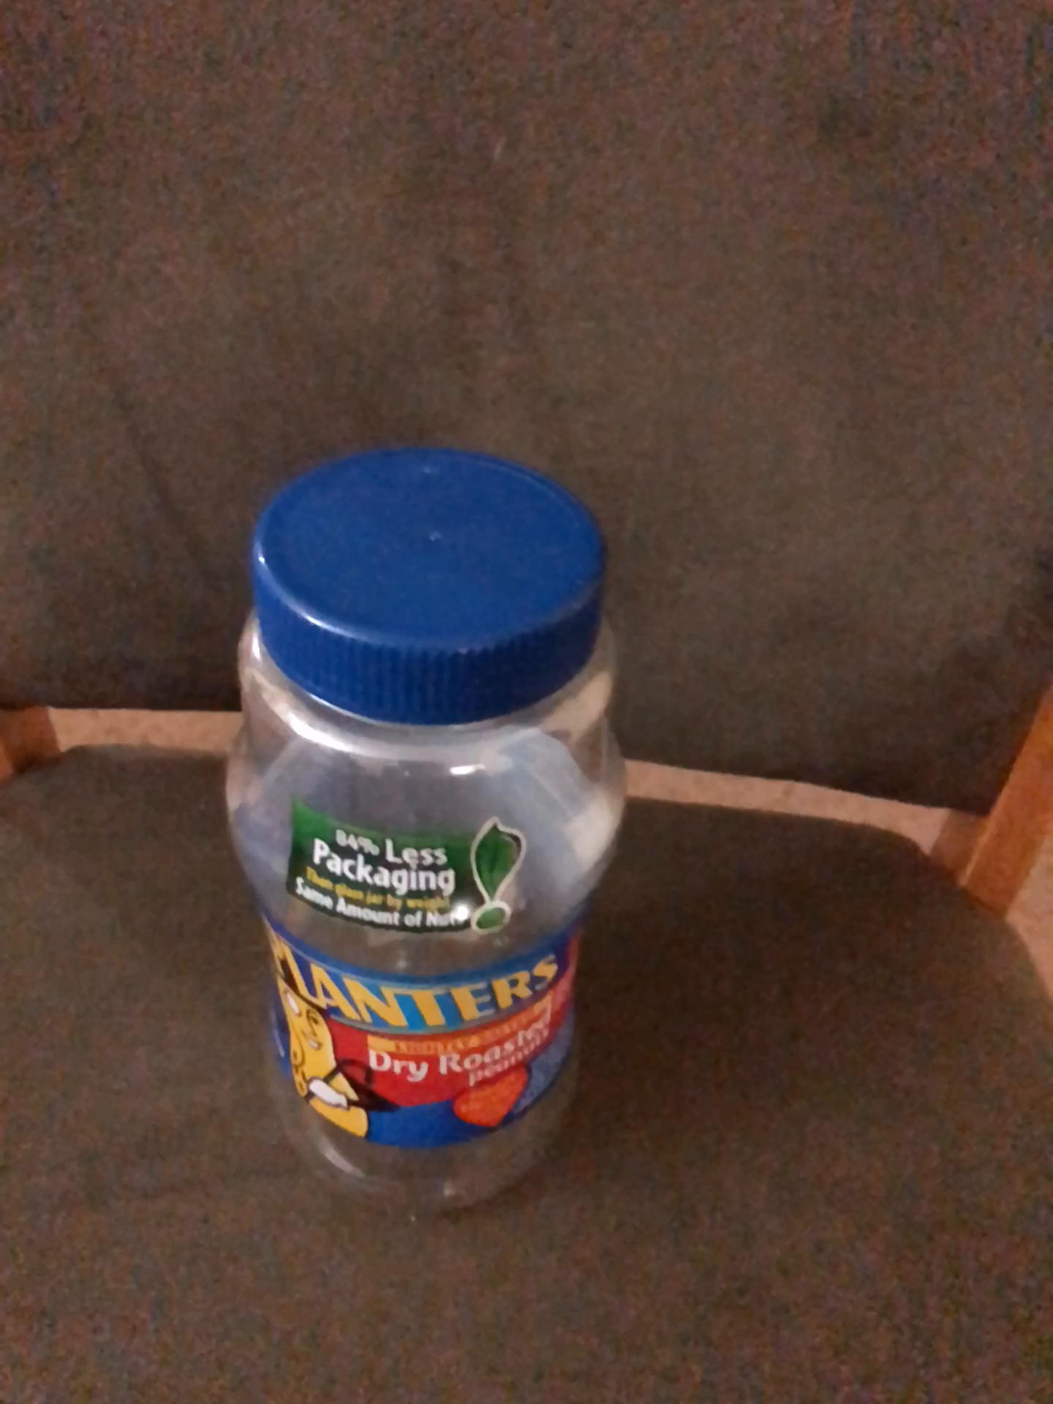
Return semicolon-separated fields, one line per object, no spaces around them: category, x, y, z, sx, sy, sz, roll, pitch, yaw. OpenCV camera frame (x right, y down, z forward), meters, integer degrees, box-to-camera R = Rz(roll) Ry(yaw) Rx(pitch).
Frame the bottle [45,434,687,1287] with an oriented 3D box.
bottle;-0.026;0.043;0.256;0.090;0.170;0.080;9;42;4
